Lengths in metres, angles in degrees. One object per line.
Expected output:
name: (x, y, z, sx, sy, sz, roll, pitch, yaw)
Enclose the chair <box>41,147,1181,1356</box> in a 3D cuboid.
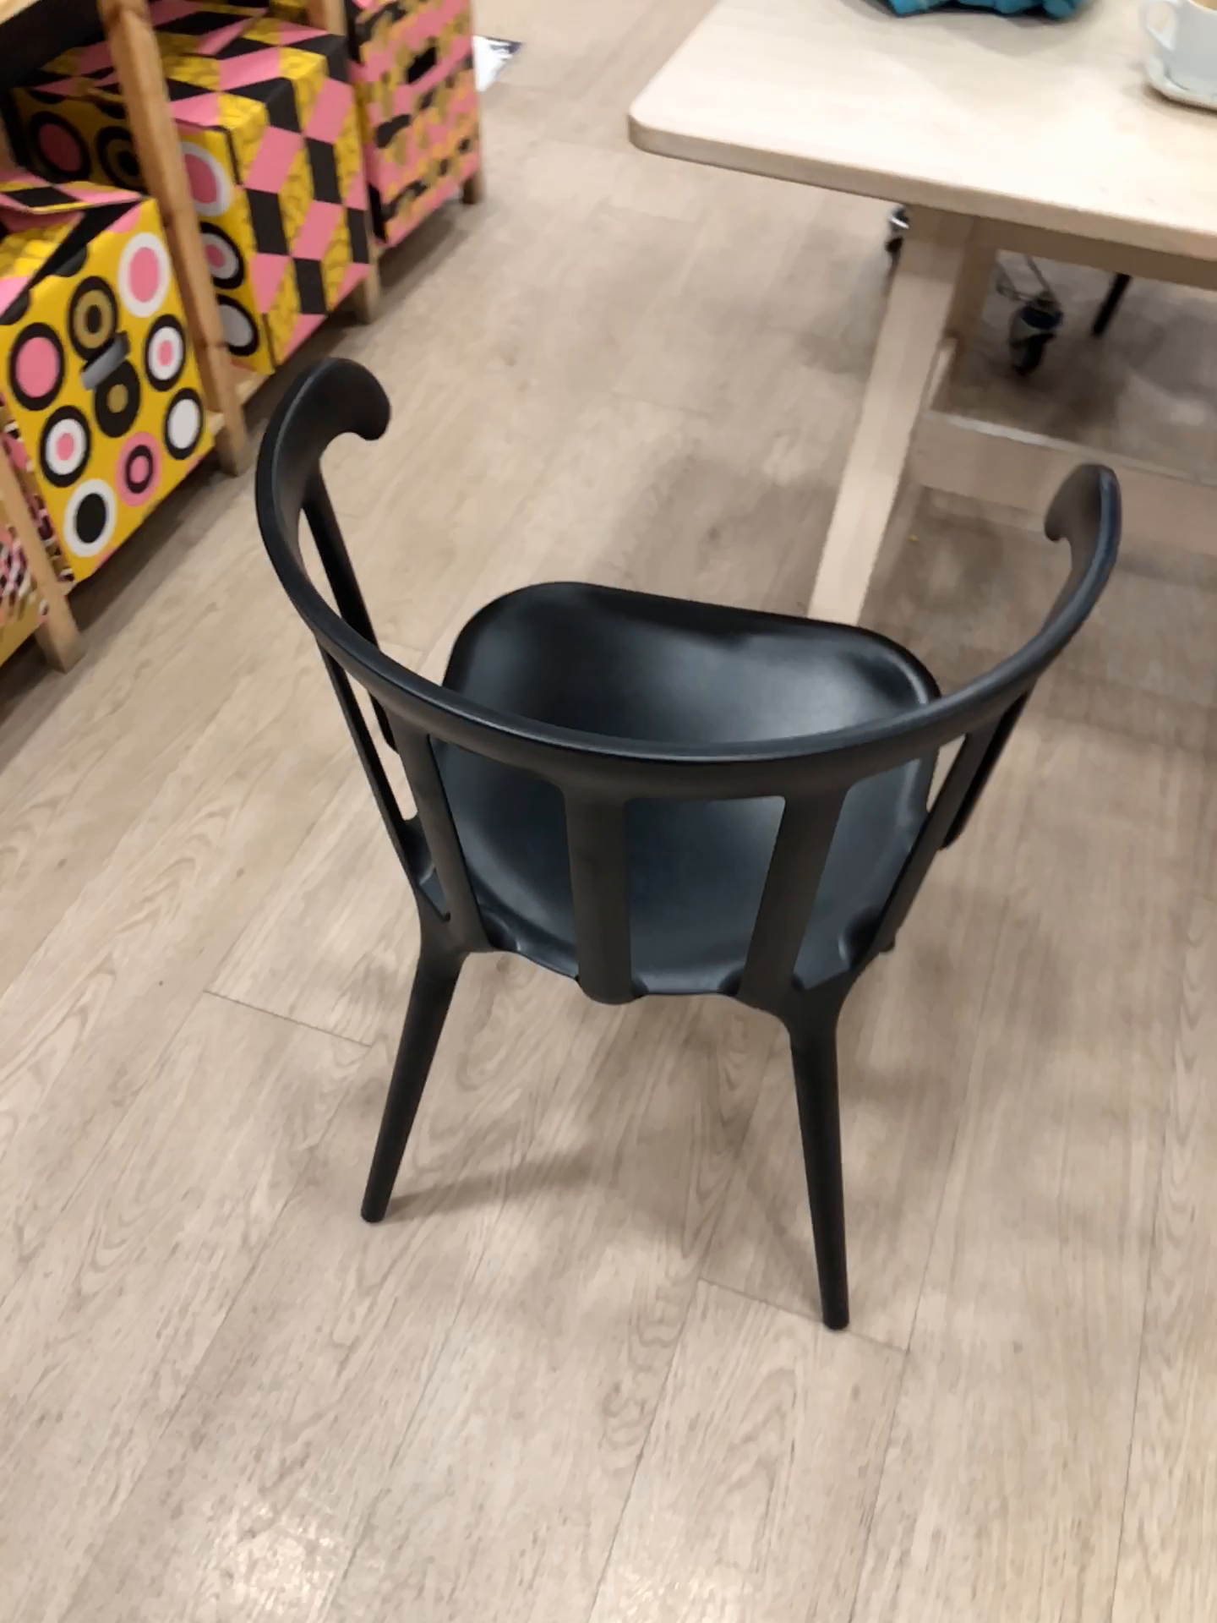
chair: (0.044, -0.016, 1.033, 0.530, 0.686, 0.533, 11, 52, 8)
